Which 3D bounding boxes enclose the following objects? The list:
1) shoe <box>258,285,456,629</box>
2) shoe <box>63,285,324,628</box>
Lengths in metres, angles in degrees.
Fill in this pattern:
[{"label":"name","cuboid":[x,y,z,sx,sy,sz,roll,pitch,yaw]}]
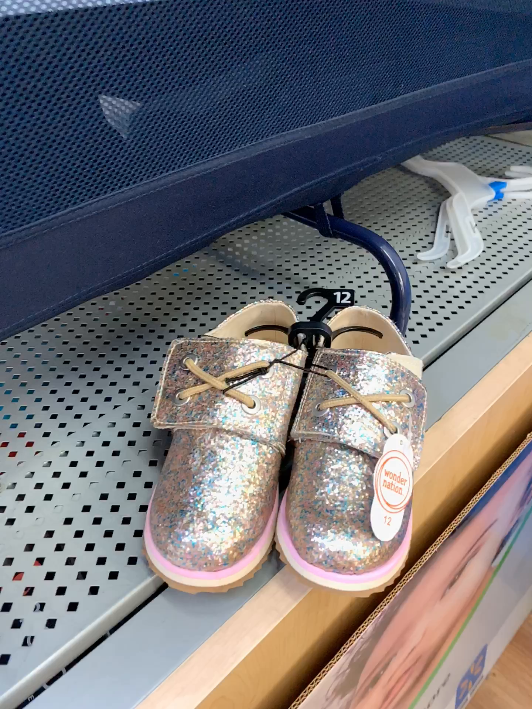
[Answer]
[{"label":"shoe","cuboid":[0.059,0.043,0.336,0.086,0.060,0.206,8,40,9]},{"label":"shoe","cuboid":[-0.026,0.044,0.340,0.083,0.070,0.199,10,41,12]}]
